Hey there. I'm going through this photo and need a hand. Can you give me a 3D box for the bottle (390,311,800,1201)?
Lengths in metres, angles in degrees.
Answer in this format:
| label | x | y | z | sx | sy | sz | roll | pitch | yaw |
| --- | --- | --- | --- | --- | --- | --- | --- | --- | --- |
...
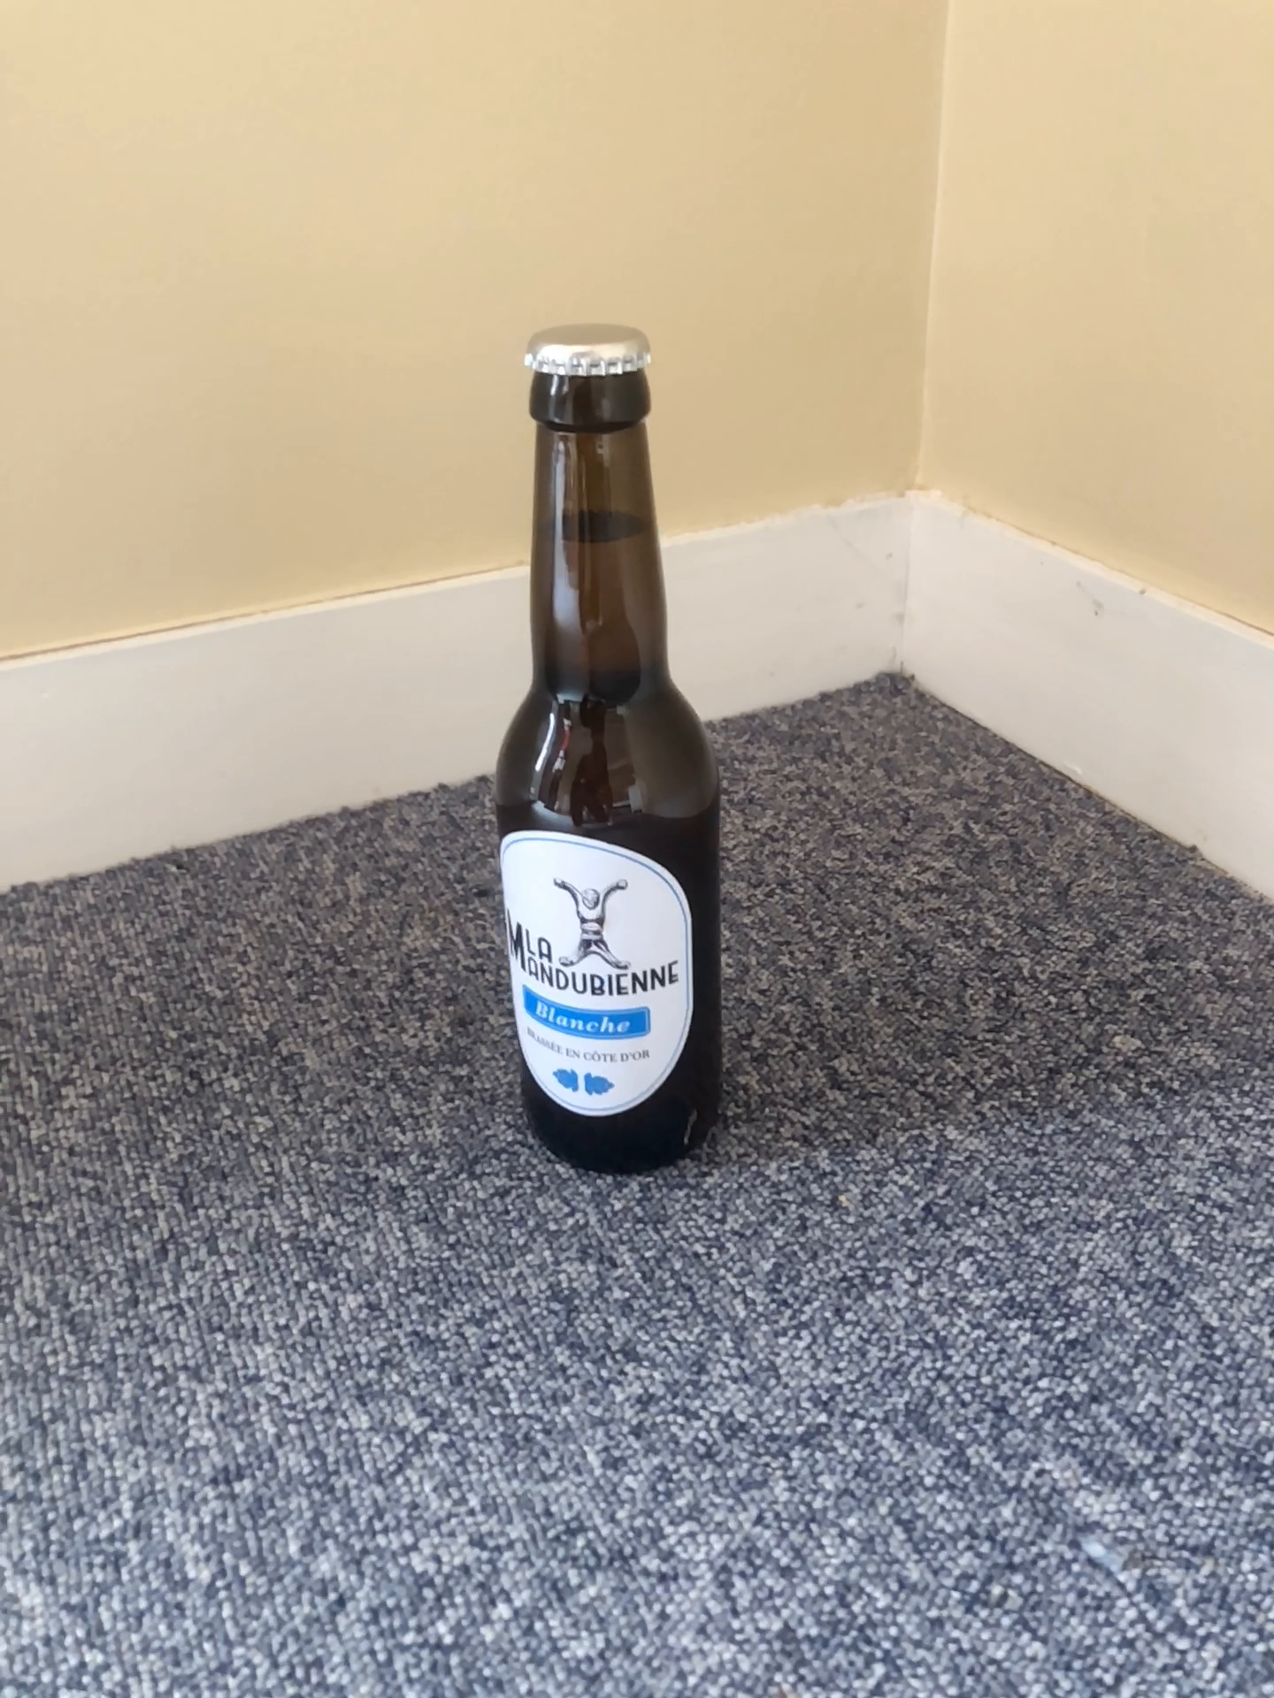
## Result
| label | x | y | z | sx | sy | sz | roll | pitch | yaw |
| --- | --- | --- | --- | --- | --- | --- | --- | --- | --- |
| bottle | -0.003 | -0.019 | 0.356 | 0.070 | 0.209 | 0.070 | -2 | 30 | 1 |
